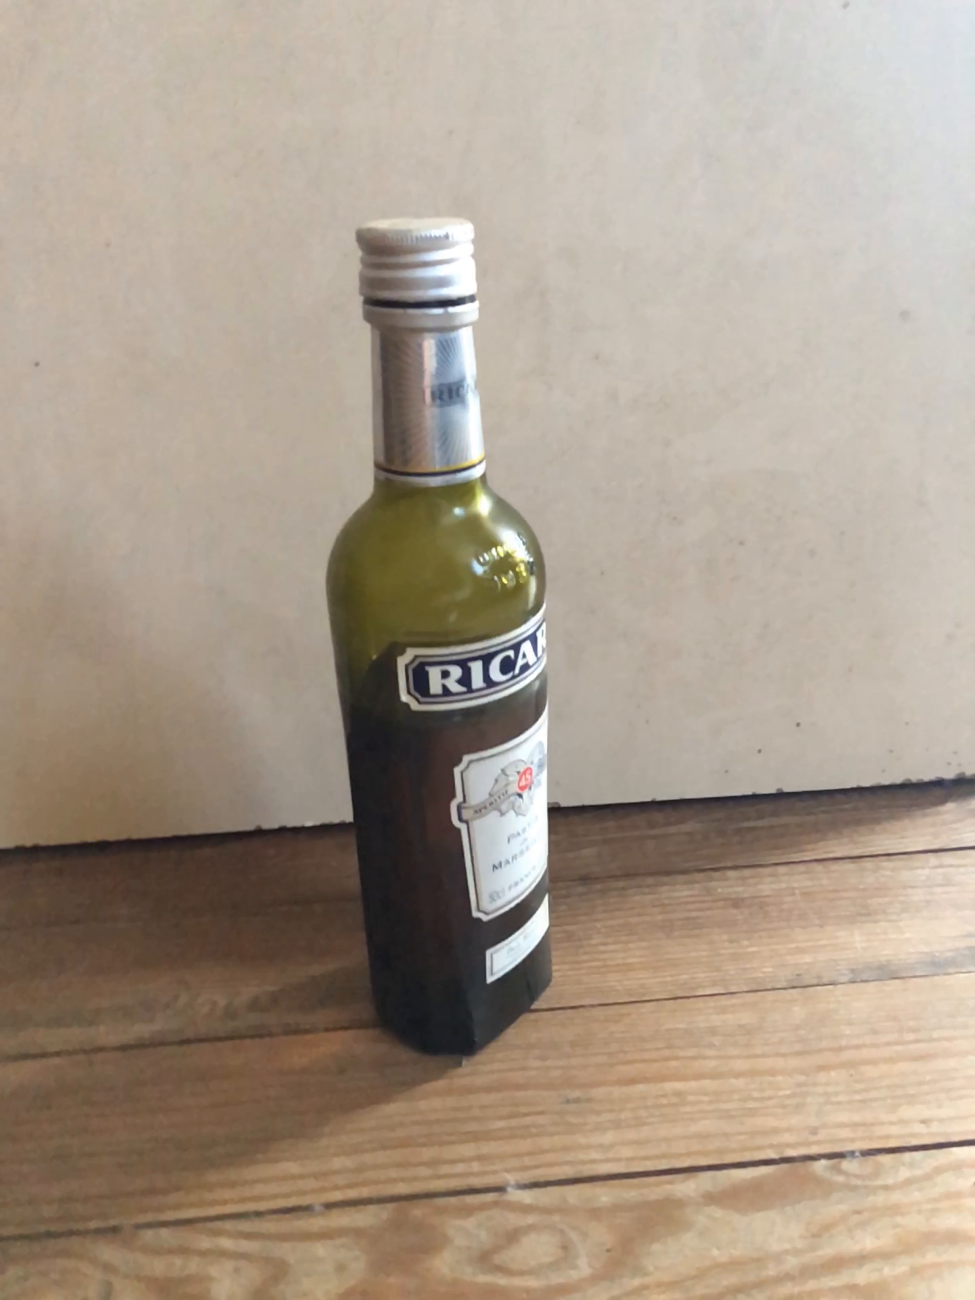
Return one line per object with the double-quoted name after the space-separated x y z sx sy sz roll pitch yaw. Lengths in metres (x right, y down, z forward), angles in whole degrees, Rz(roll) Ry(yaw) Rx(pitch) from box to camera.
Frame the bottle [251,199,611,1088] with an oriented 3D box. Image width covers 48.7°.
-0.011 0.005 0.331 0.060 0.259 0.070 18 33 33 "bottle"
